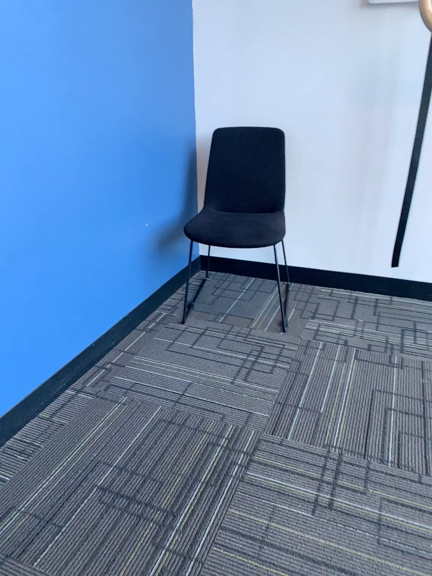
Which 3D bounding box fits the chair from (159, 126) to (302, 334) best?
[{"bbox_3d":[0.096,-0.295,1.955,0.500,0.756,0.583,4,24,10],"label":"chair"}]
